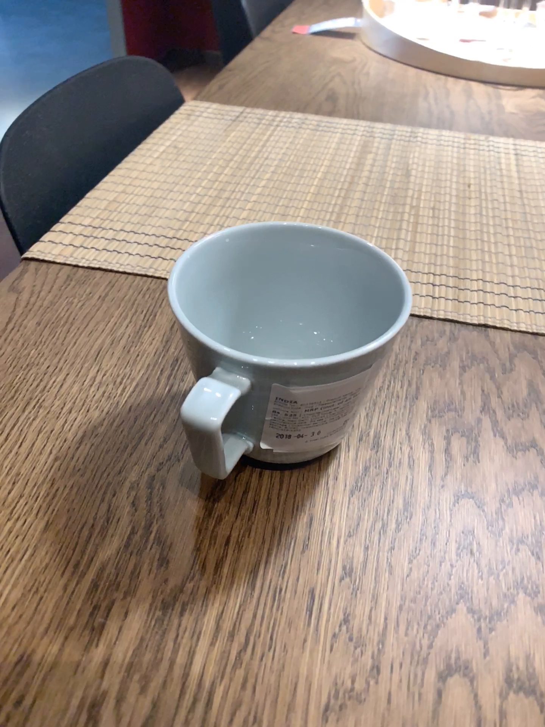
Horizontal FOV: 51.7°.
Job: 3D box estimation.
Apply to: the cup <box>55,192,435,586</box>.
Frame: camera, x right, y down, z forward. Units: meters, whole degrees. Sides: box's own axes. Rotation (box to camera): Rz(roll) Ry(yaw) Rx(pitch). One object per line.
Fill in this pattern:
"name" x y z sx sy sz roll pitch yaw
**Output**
"cup" -0.005 0.001 0.279 0.110 0.100 0.140 21 44 19
